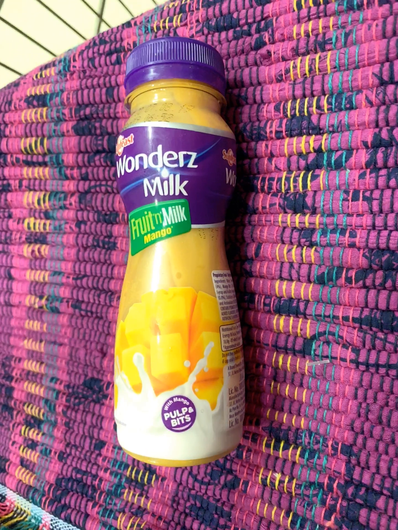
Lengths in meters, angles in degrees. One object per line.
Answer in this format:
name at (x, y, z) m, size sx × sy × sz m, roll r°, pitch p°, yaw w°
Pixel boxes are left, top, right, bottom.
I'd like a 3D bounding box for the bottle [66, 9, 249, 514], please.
bottle at (-0.013, -0.002, 0.153) m, size 0.050 × 0.040 × 0.150 m, roll -3°, pitch 85°, yaw 29°
